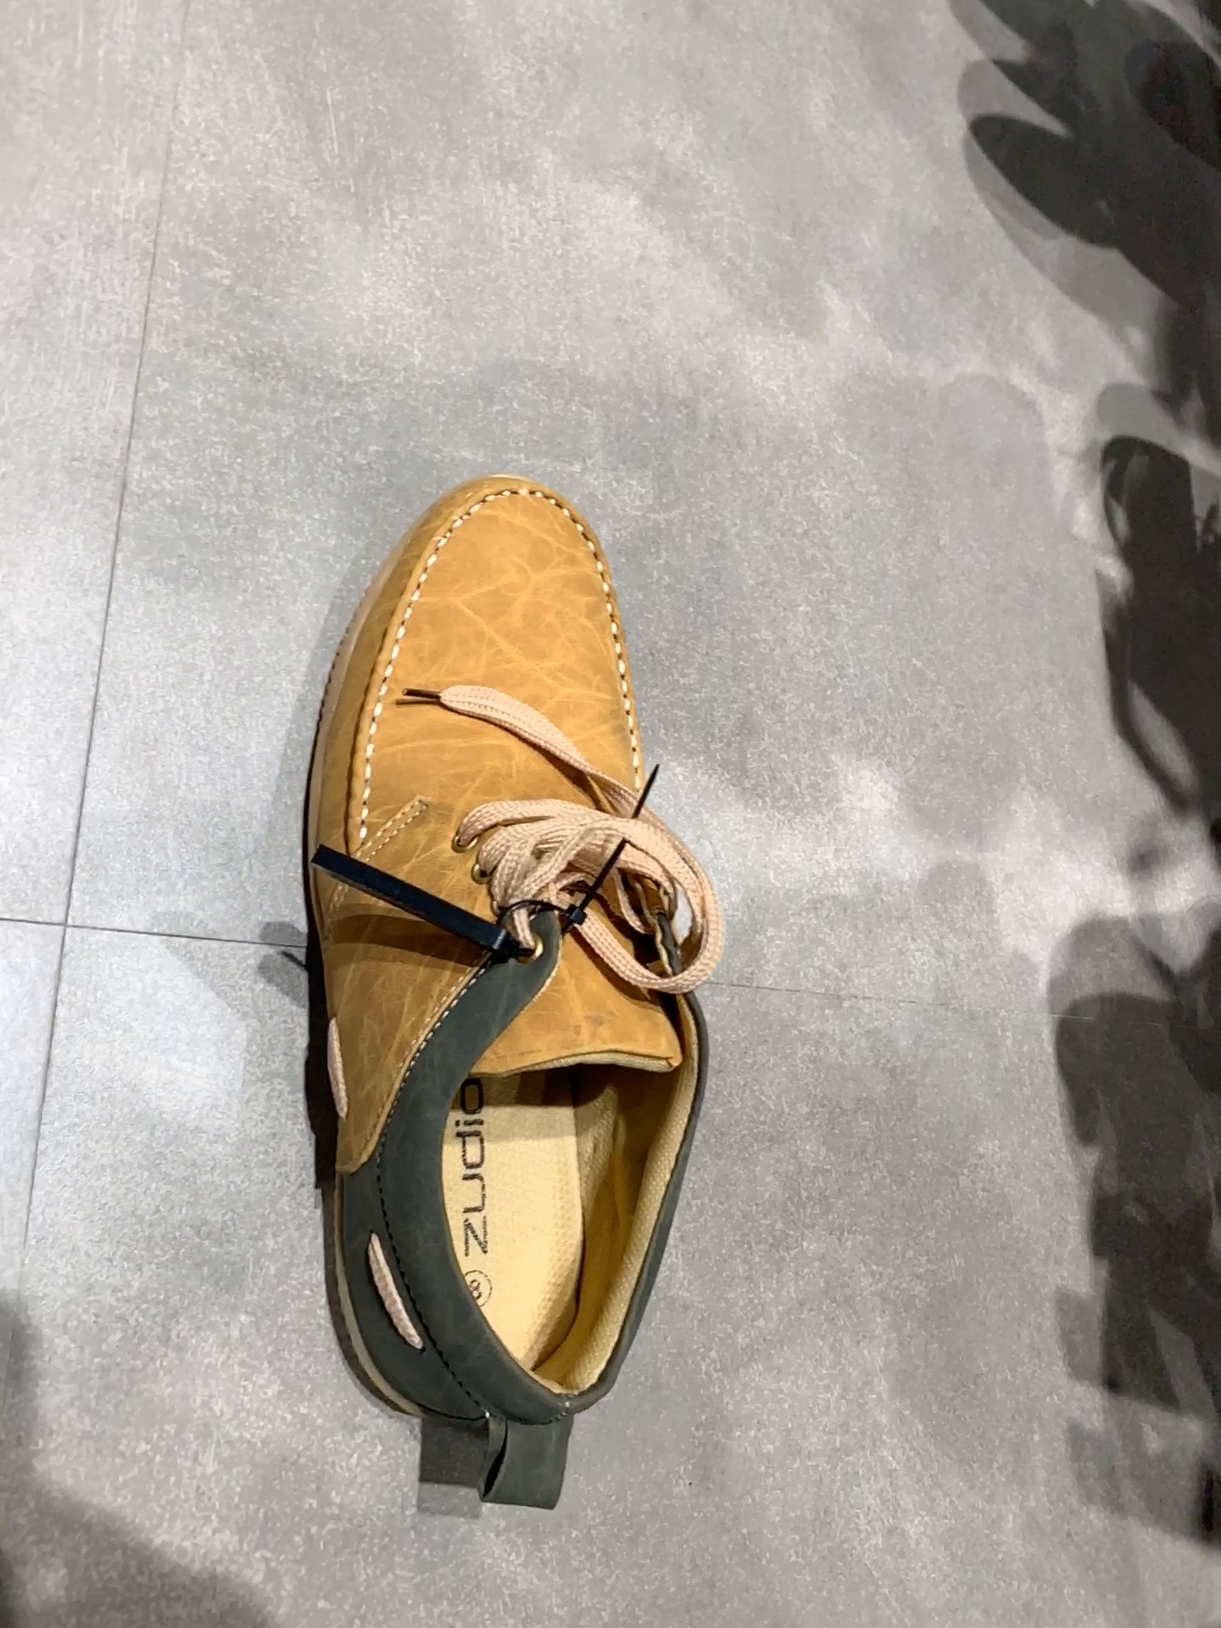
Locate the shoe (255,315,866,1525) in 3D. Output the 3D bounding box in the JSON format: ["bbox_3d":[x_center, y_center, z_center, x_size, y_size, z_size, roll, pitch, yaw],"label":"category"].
[{"bbox_3d":[-0.021,0.026,0.349,0.111,0.117,0.267,7,72,-29],"label":"shoe"}]
